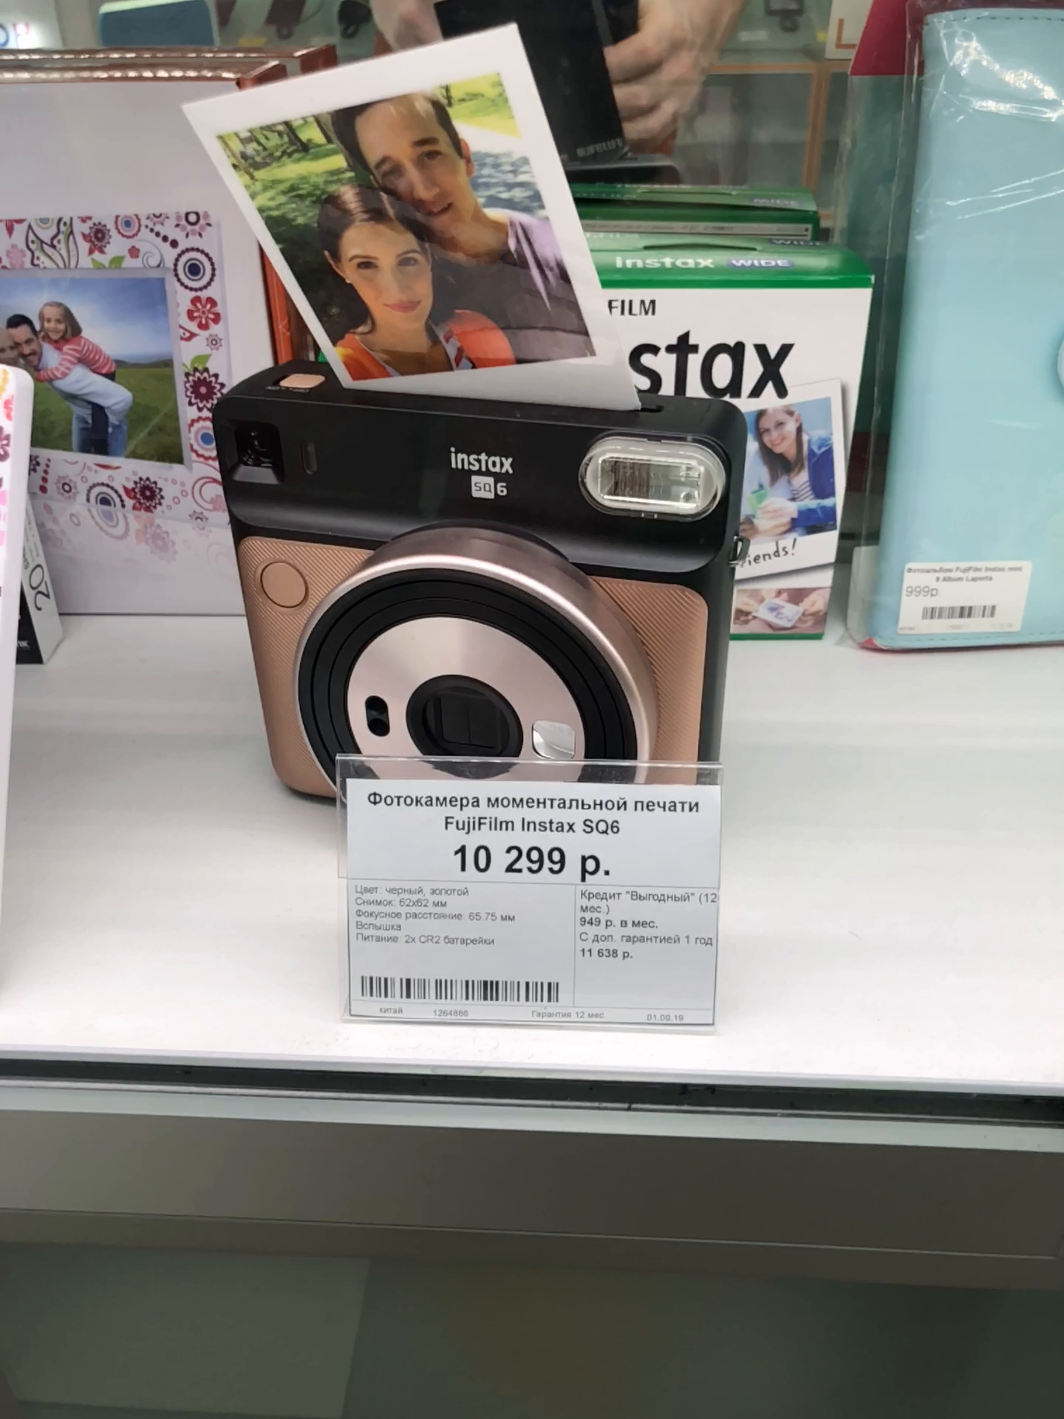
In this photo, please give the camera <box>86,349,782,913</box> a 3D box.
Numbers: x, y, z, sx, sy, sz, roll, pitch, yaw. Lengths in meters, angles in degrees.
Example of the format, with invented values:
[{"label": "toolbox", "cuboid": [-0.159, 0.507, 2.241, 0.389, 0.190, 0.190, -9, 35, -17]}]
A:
[{"label": "camera", "cuboid": [-0.019, -0.022, 0.287, 0.140, 0.104, 0.060, 8, 34, 14]}]
